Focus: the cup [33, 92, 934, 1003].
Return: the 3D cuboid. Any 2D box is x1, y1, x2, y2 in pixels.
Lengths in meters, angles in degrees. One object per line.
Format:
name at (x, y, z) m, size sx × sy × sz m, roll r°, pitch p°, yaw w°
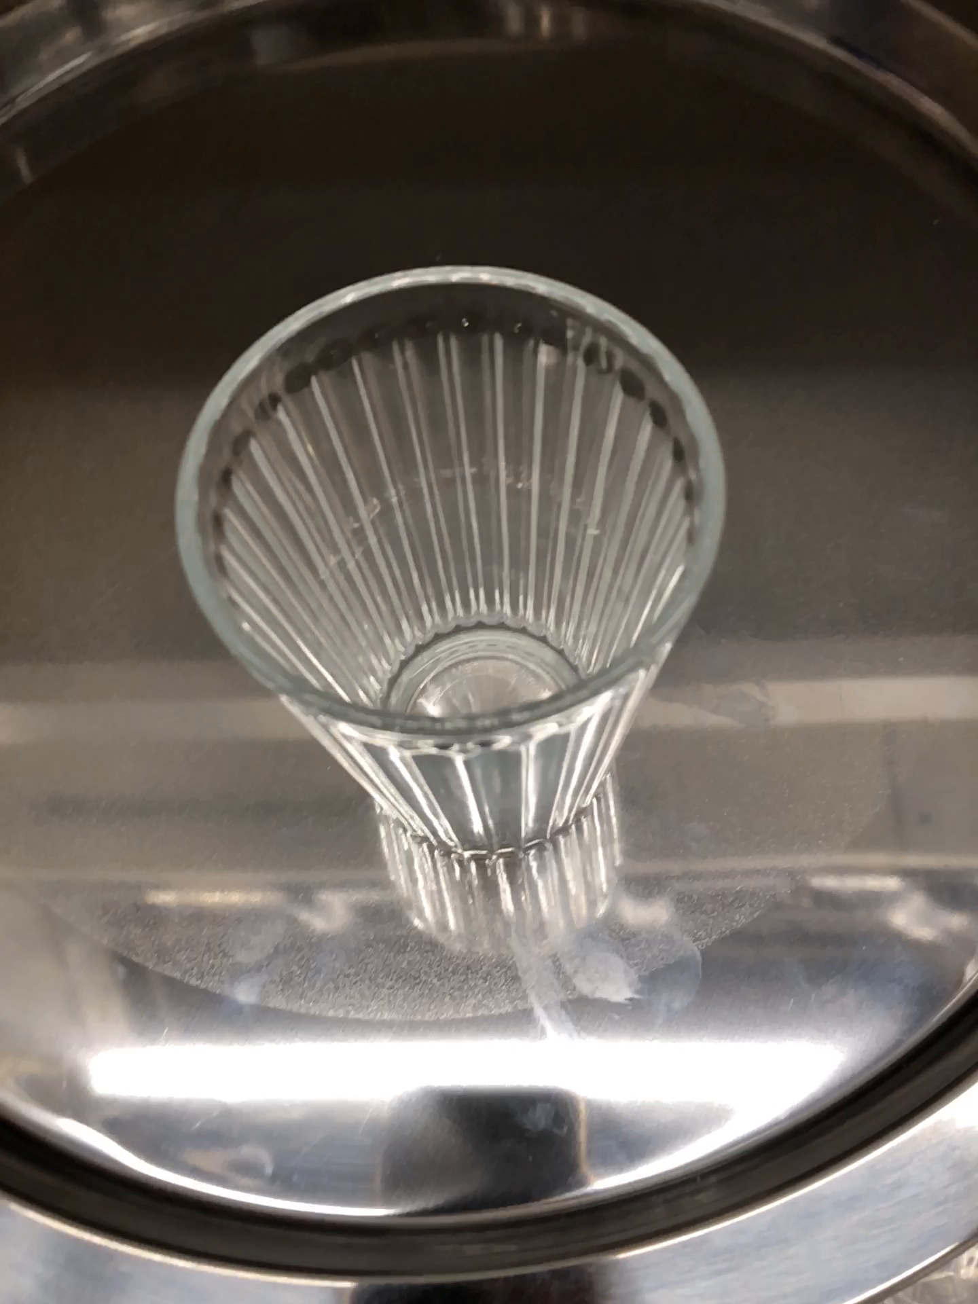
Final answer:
cup at (-0.001, -0.004, 0.158) m, size 0.070 × 0.100 × 0.070 m, roll -2°, pitch 66°, yaw 3°
